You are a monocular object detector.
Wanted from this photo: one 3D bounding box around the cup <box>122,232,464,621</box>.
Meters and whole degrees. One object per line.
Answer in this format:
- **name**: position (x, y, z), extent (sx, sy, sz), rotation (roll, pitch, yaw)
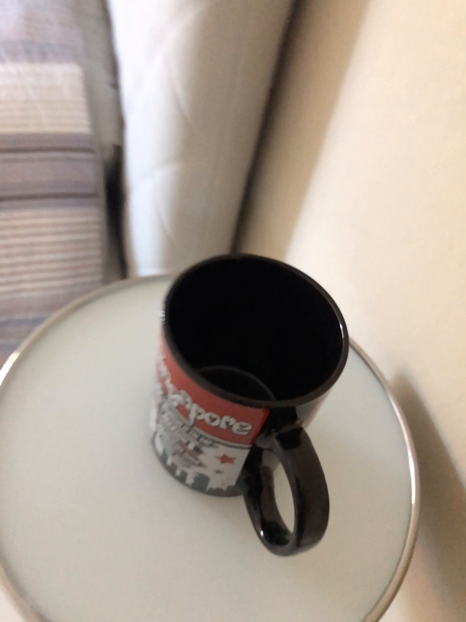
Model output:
- **cup**: position (0.011, 0.049, 0.251), extent (0.090, 0.100, 0.130), rotation (-13, 54, -23)
